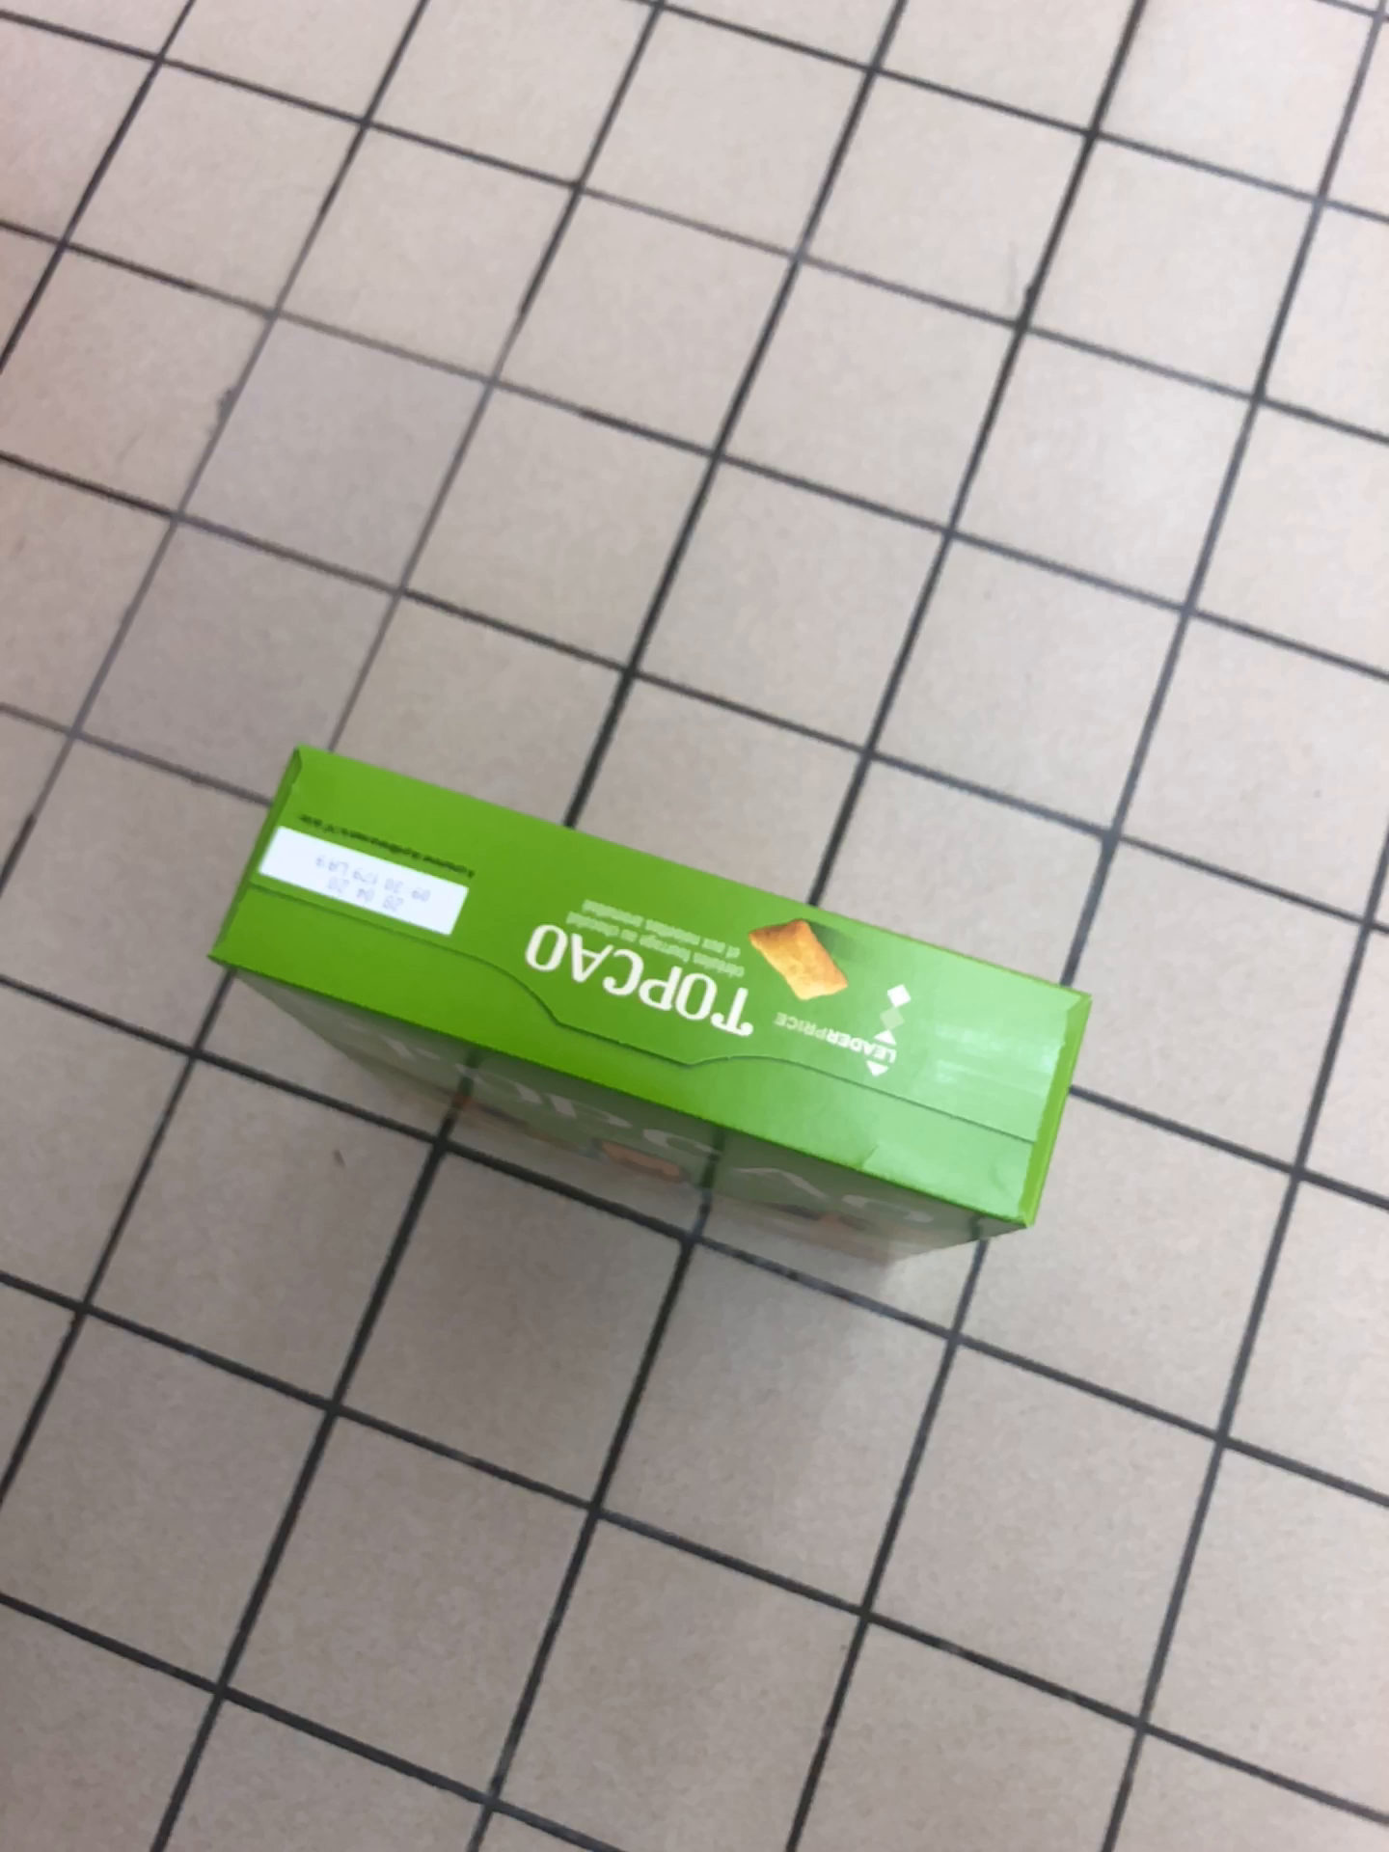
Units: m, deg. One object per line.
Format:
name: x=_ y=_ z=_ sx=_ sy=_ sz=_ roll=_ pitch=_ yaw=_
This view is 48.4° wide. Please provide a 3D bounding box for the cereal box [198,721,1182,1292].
cereal box: x=-0.002 y=0.043 z=0.448 sx=0.200 sy=0.250 sz=0.060 roll=17 pitch=76 yaw=4
